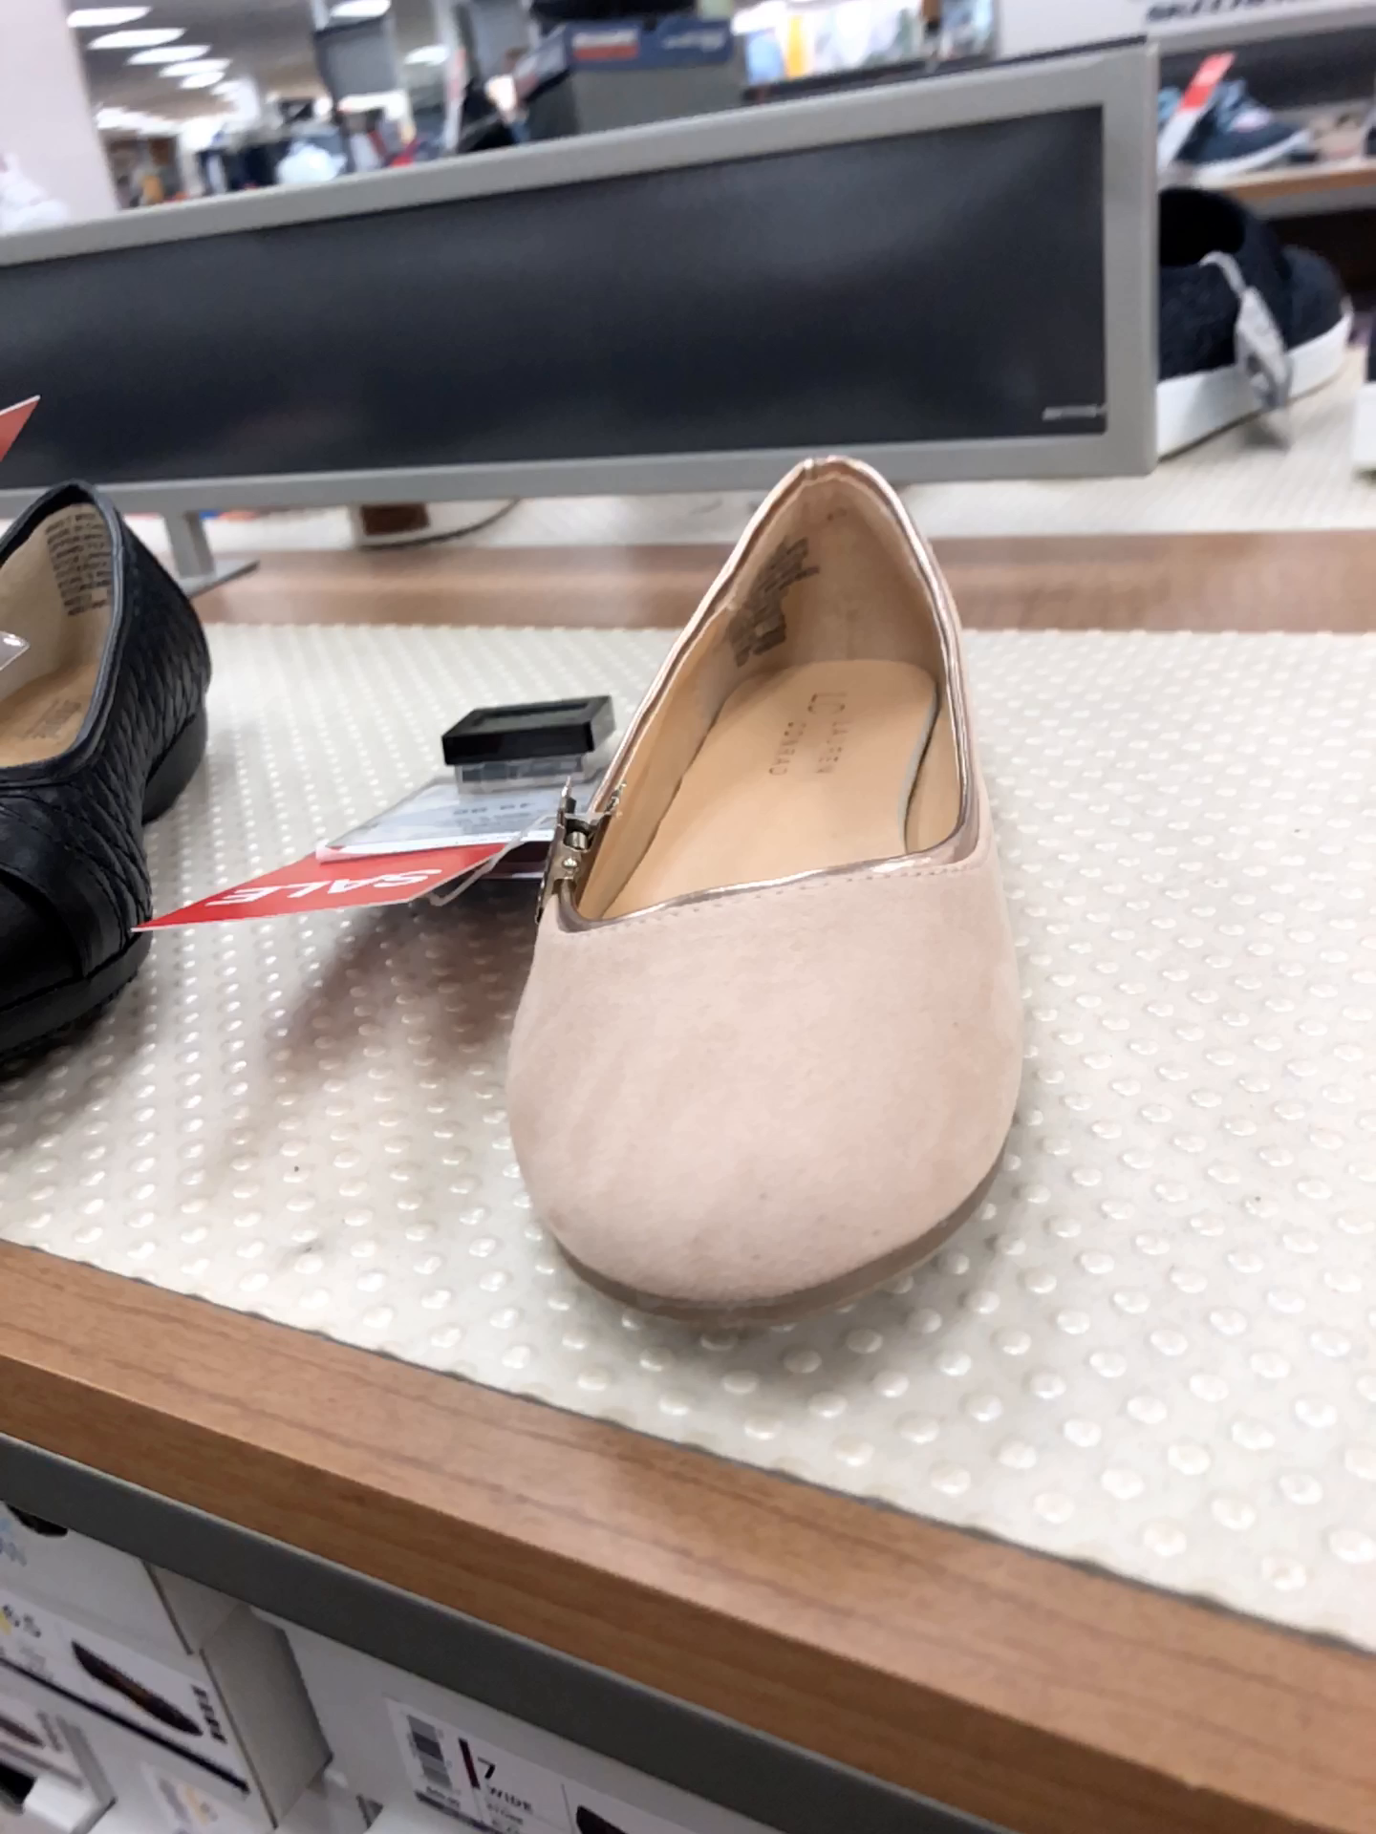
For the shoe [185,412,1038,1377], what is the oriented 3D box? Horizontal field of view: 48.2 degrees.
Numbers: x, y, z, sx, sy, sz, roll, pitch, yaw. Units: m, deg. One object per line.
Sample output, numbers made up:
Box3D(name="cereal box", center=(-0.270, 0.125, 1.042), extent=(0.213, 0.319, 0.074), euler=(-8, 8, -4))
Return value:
Box3D(name="shoe", center=(0.012, -0.028, 0.265), extent=(0.085, 0.064, 0.229), euler=(-3, 27, 13))
